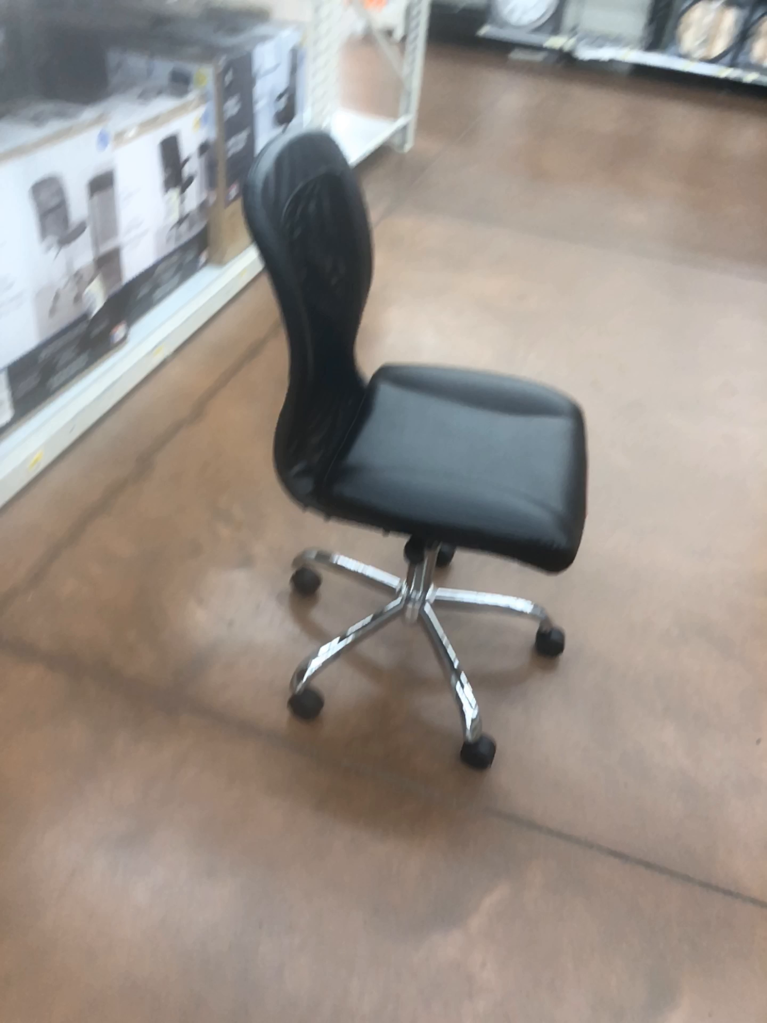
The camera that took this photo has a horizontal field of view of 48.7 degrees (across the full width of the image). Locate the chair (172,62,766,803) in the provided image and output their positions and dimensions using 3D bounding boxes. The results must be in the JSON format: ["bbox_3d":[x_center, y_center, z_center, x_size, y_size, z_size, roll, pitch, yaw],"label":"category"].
[{"bbox_3d":[0.140,-0.152,1.350,0.650,0.817,0.683,14,39,8],"label":"chair"}]
